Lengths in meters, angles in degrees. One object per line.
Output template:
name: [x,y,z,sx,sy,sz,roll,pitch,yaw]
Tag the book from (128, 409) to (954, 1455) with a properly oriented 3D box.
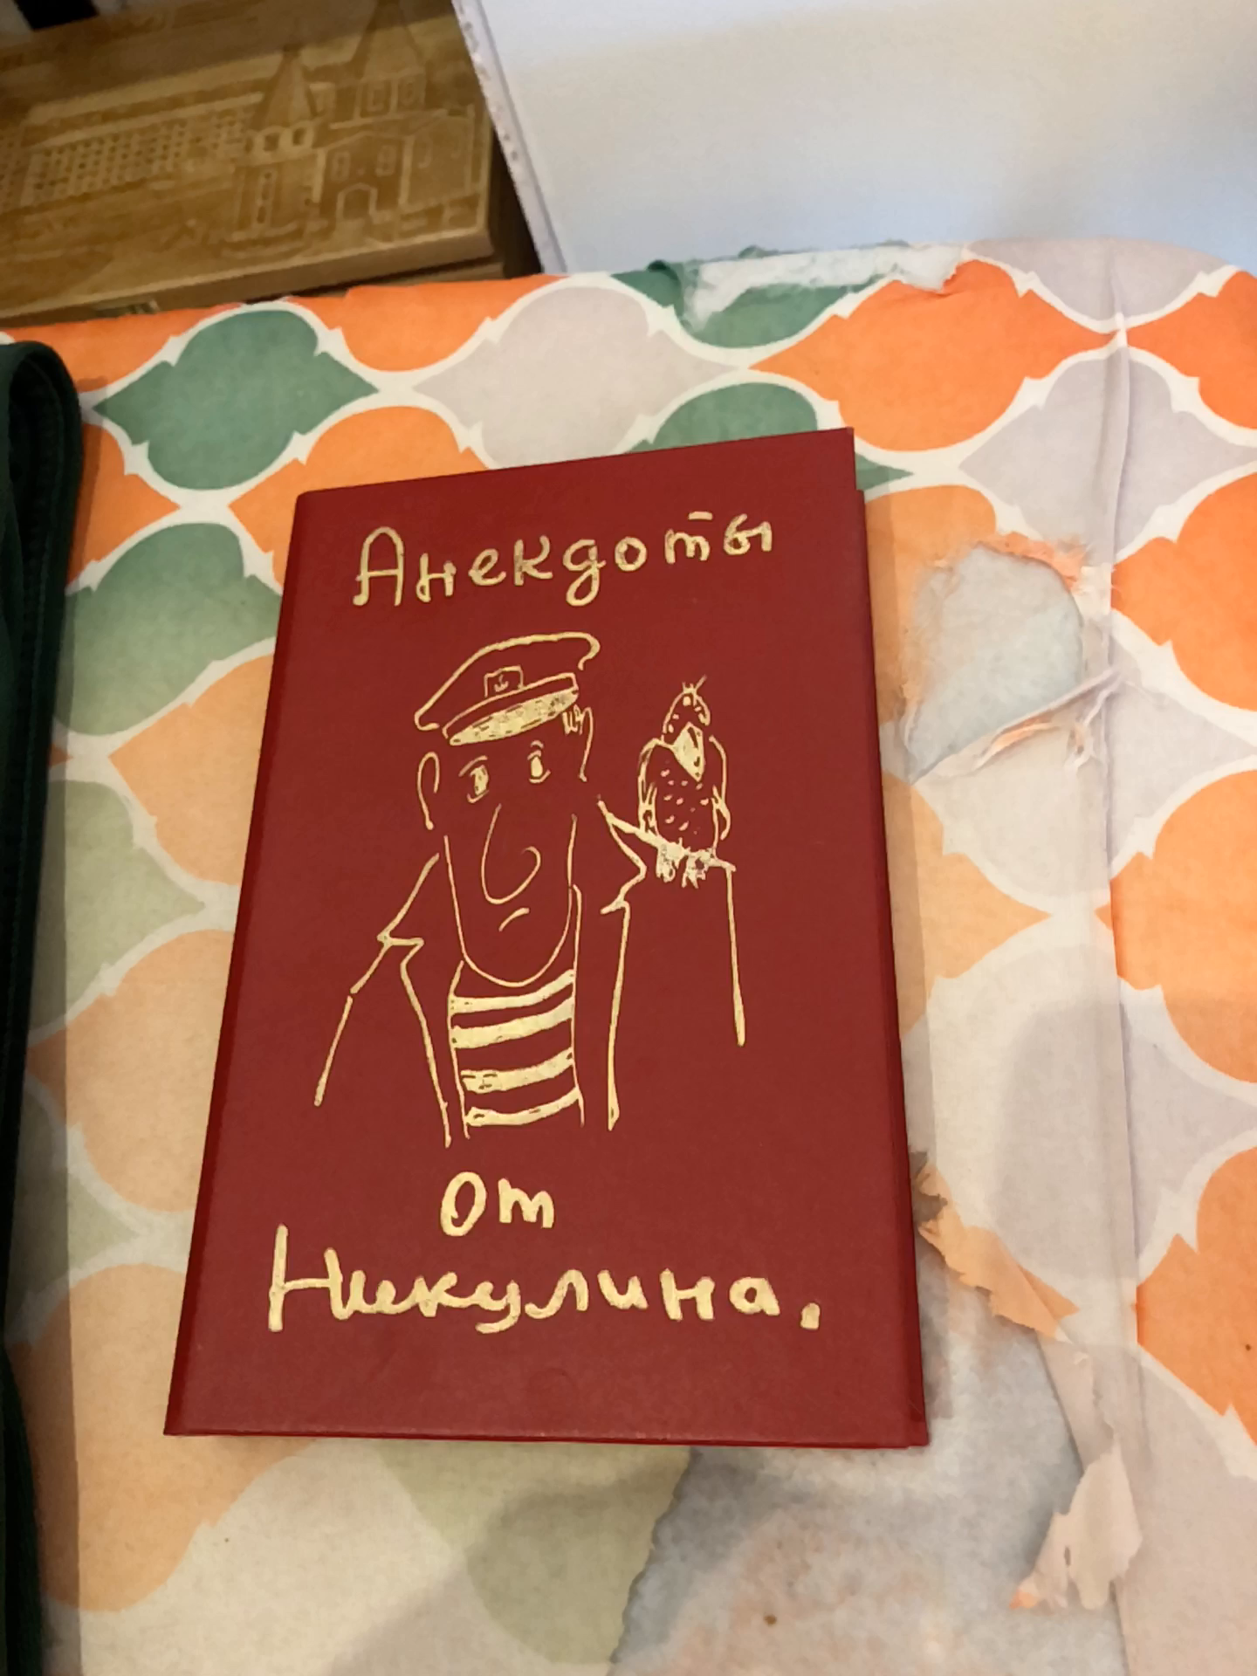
book: [-0.013,0.011,0.286,0.140,0.030,0.208,-4,64,11]
